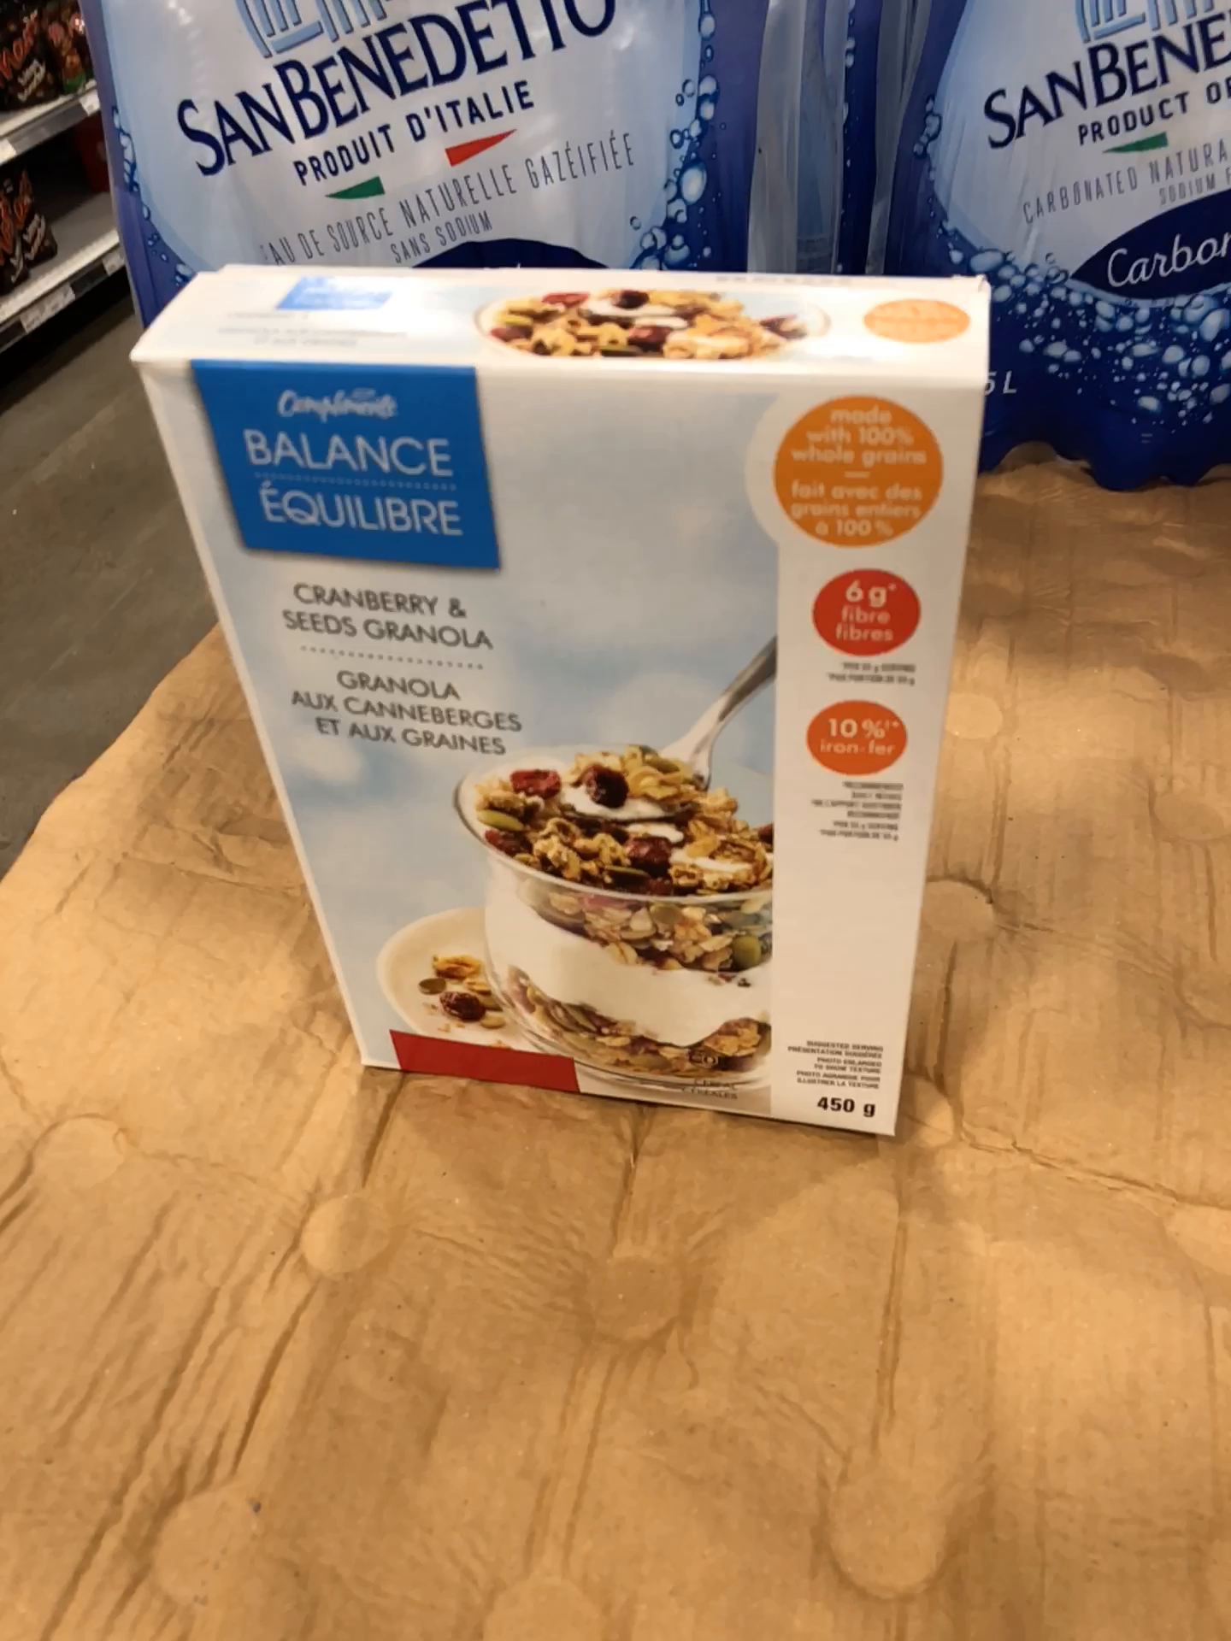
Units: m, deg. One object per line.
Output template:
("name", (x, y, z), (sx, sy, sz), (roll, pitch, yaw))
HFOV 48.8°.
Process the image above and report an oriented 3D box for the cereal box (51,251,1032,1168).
("cereal box", (-0.006, -0.014, 0.334), (0.180, 0.229, 0.050), (5, 43, 12))
